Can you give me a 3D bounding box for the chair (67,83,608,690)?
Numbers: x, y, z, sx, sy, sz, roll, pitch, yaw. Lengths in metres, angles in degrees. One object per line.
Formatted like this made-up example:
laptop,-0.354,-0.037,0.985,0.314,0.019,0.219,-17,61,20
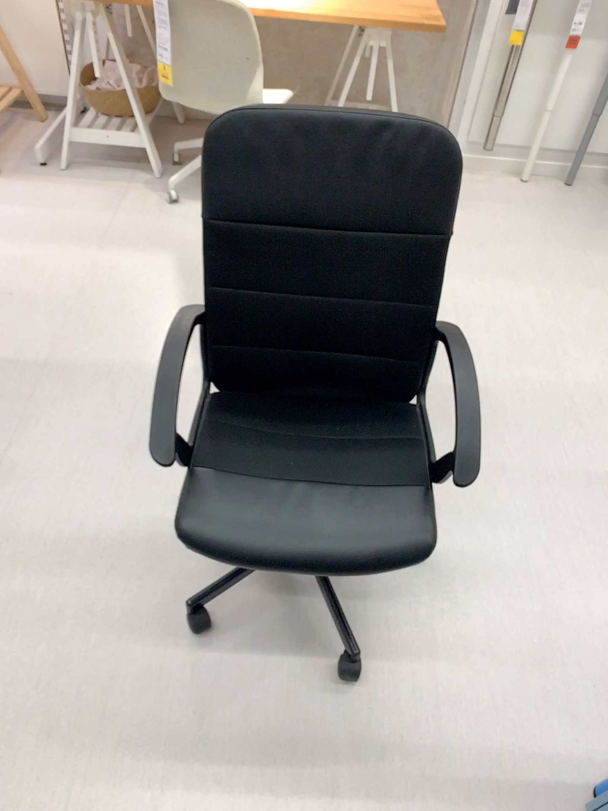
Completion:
chair,0.034,0.048,1.177,0.610,0.996,0.582,3,46,-4
